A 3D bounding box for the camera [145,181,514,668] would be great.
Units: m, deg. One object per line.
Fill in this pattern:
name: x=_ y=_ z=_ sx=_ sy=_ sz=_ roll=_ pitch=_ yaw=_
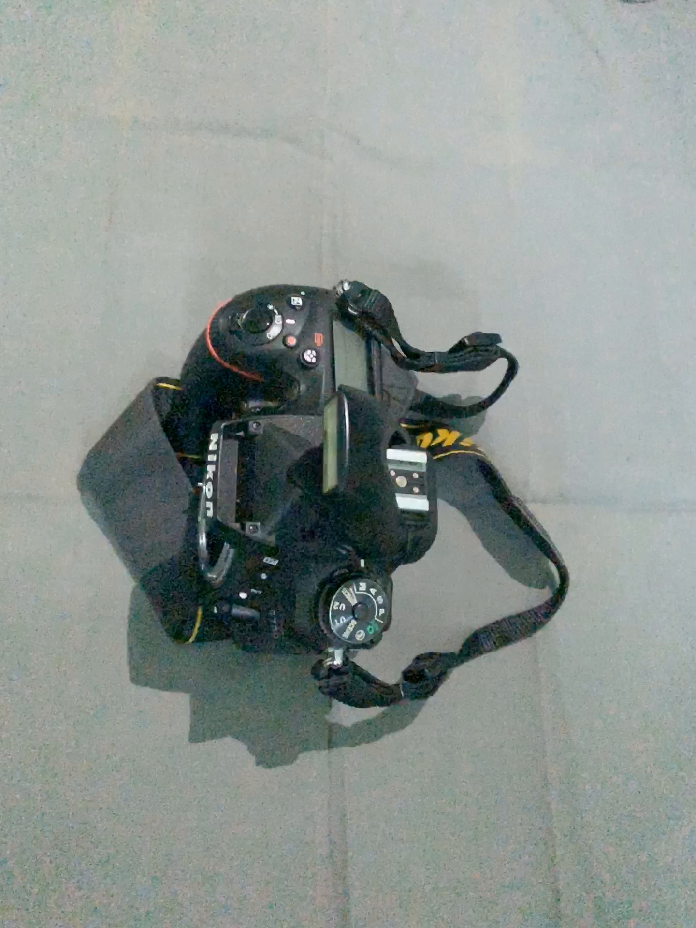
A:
camera: x=-0.017 y=0.002 z=0.271 sx=0.100 sy=0.126 sz=0.140 roll=5 pitch=72 yaw=-15
